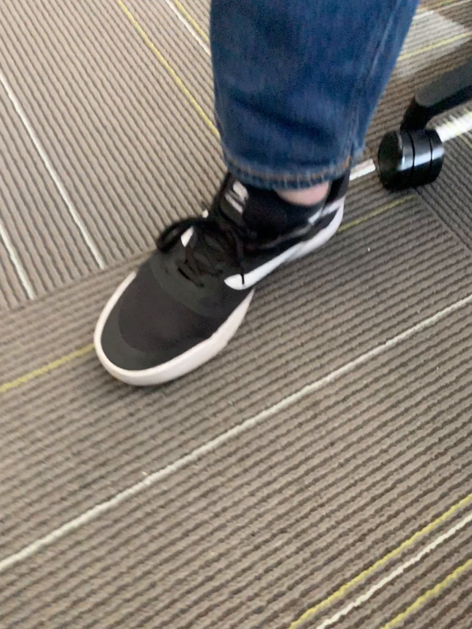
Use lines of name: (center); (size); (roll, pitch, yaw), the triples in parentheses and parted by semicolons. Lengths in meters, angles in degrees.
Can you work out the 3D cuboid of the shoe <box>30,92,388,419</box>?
shoe: (-0.013, -0.065, 0.475); (0.320, 0.120, 0.120); (-41, 73, -20)
